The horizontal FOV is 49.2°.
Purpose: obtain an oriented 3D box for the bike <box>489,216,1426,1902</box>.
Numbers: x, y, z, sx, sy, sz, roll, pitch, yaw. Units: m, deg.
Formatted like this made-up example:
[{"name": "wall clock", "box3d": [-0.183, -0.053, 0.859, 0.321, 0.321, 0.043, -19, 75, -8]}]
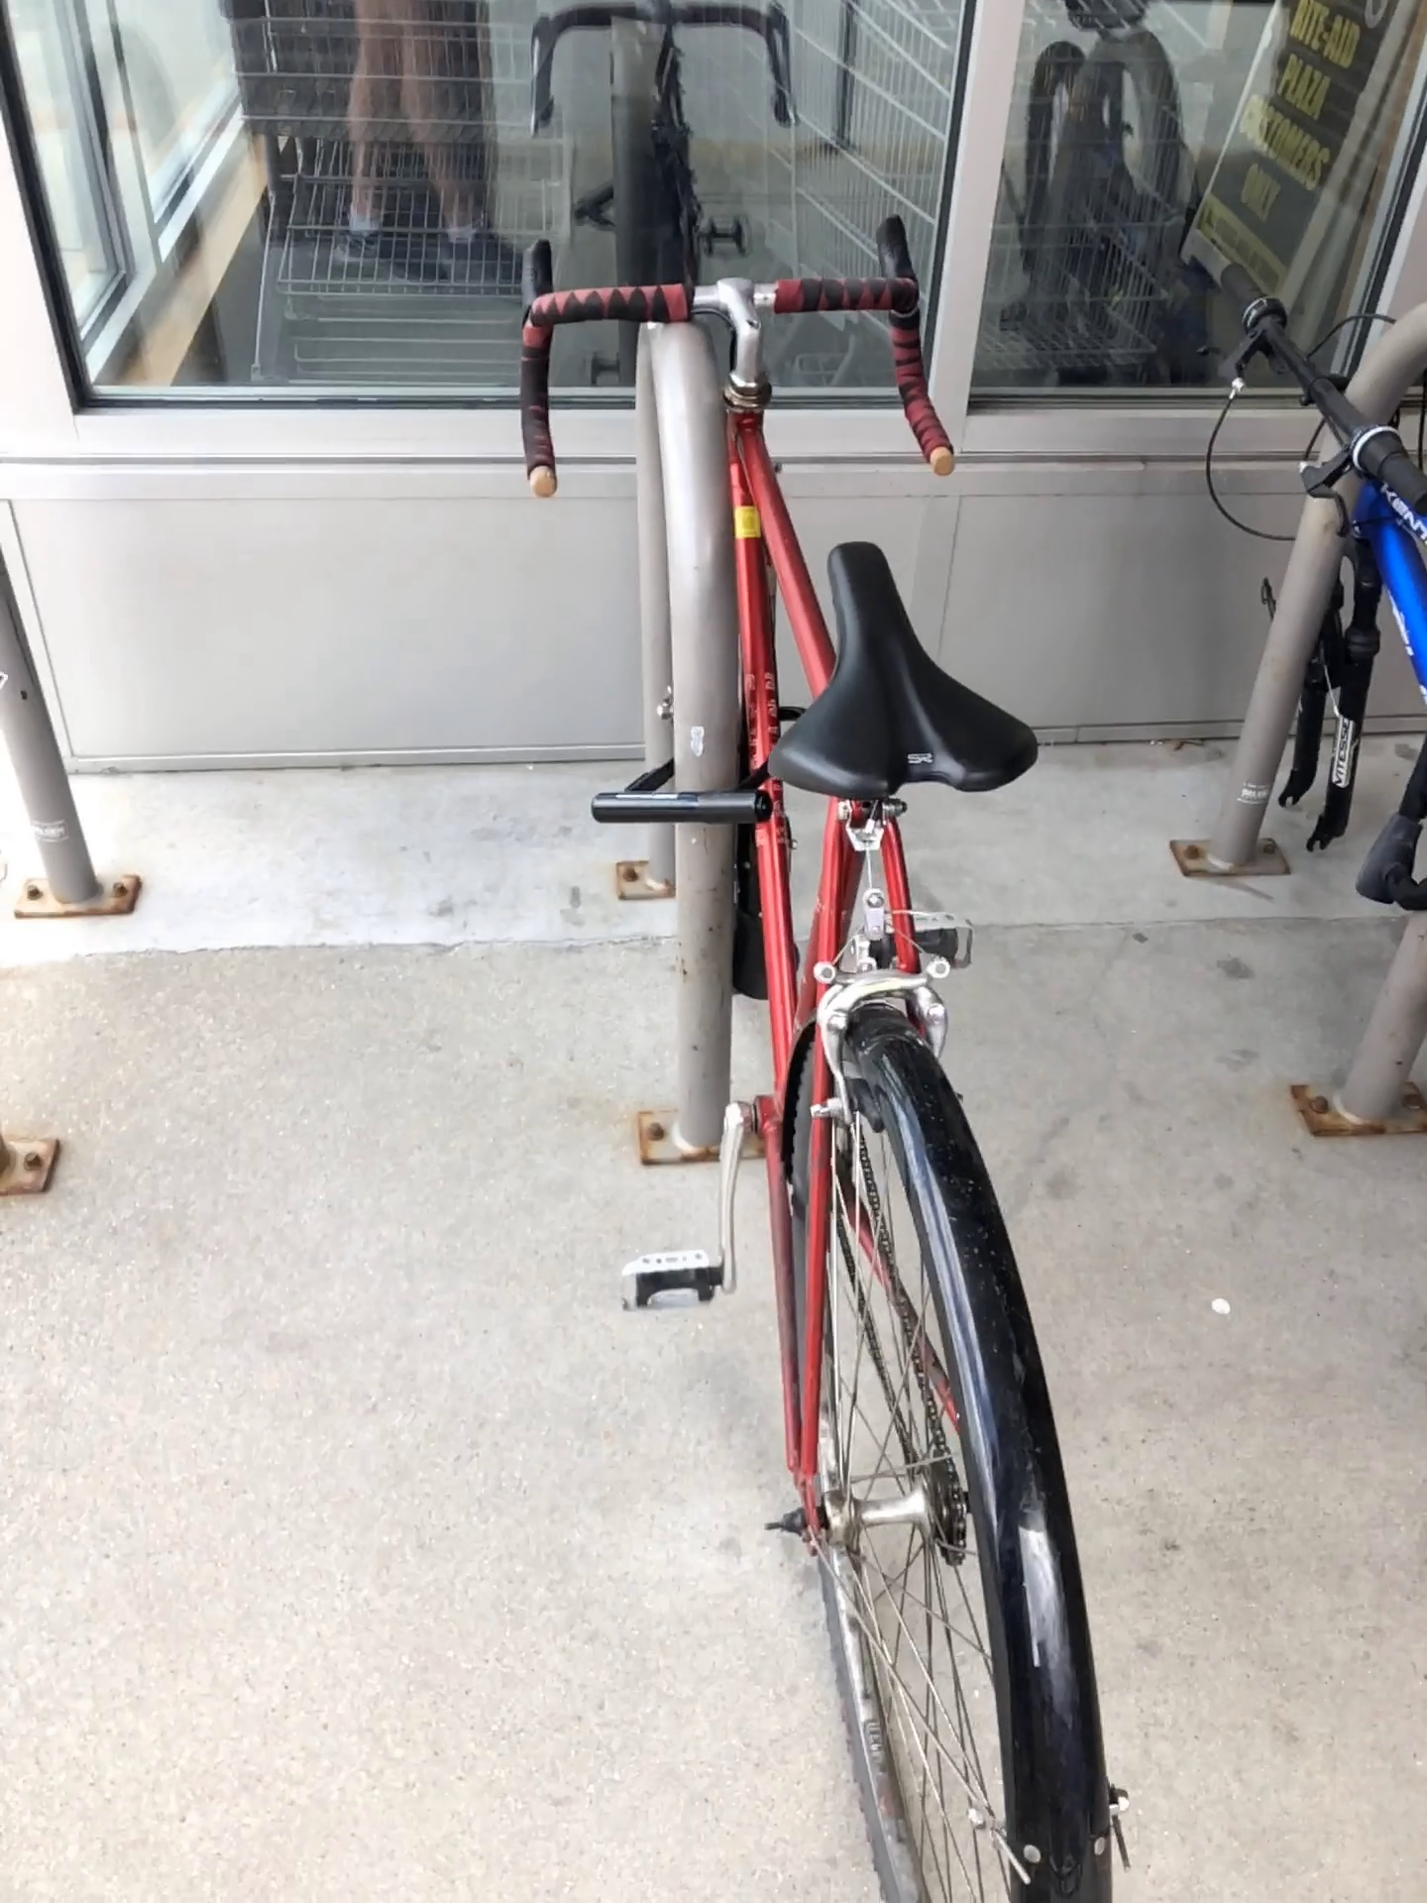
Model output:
[{"name": "bike", "box3d": [0.058, 0.027, 1.456, 0.458, 0.787, 1.700, -3, 43, -6]}]
